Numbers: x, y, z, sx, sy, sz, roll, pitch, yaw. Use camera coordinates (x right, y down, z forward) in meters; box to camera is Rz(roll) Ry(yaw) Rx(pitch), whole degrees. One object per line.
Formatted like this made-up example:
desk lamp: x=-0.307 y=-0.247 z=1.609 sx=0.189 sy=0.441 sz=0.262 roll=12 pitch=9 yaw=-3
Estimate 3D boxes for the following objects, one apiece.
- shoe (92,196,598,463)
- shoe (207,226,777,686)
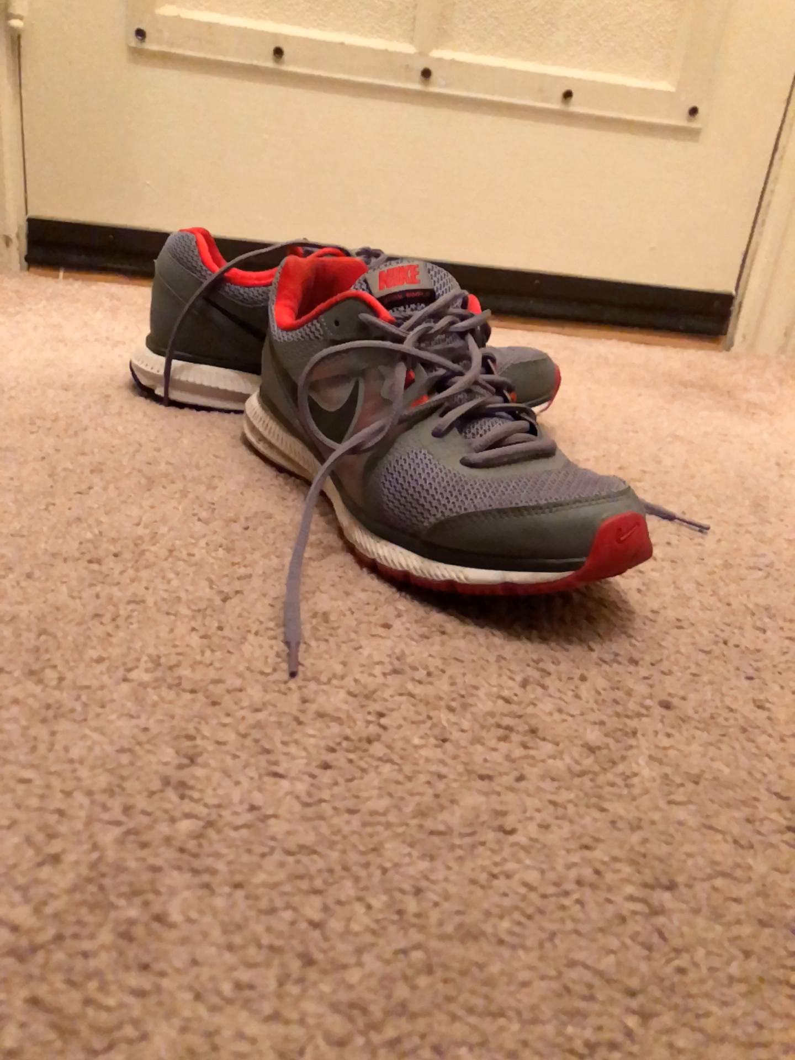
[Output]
shoe: x=-0.036 y=-0.138 z=0.587 sx=0.297 sy=0.119 sz=0.114 roll=7 pitch=23 yaw=-3
shoe: x=0.012 y=-0.064 z=0.438 sx=0.113 sy=0.119 sz=0.298 roll=-7 pitch=28 yaw=-31
